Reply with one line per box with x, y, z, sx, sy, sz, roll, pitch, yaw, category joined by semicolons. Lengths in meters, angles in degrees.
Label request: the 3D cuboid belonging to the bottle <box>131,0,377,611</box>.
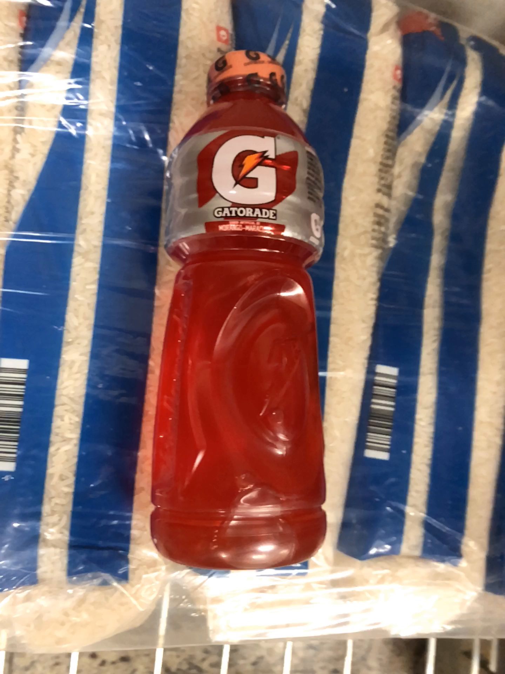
-0.002;-0.020;0.223;0.080;0.060;0.220;2;86;-13;bottle
